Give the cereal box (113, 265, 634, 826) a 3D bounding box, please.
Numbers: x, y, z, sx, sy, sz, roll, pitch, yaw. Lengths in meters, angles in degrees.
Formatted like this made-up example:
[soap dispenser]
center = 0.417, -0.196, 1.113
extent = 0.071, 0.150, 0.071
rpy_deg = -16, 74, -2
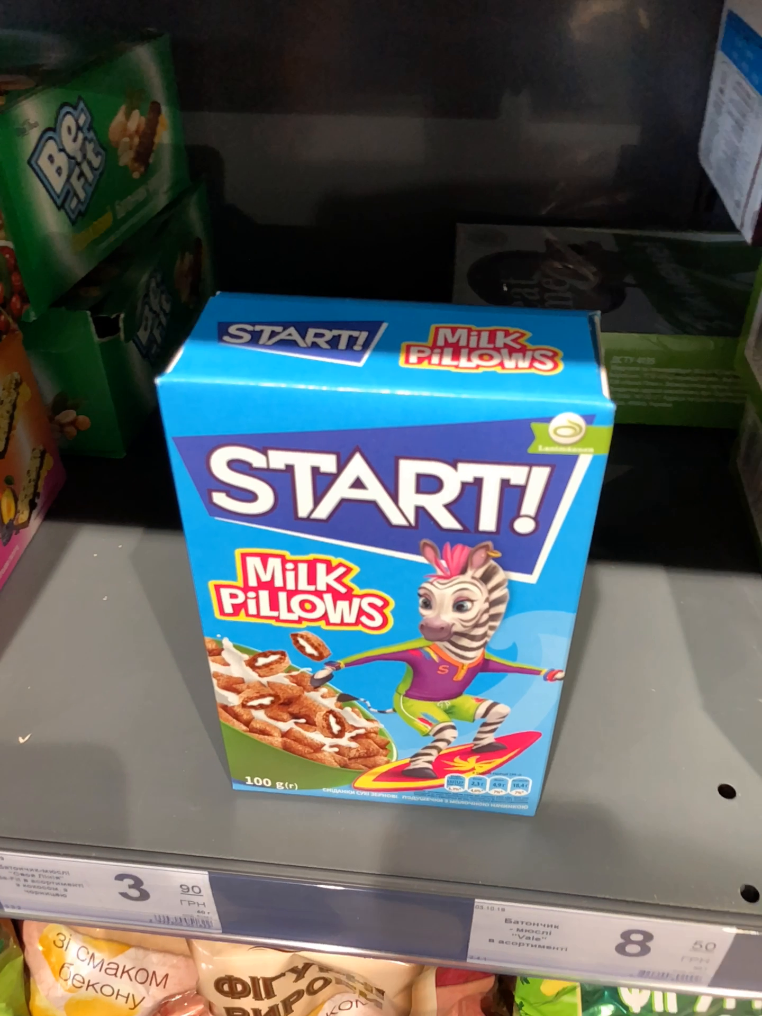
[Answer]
[cereal box]
center = 0.000, 0.019, 0.273
extent = 0.120, 0.169, 0.071
rpy_deg = 4, 39, 4
